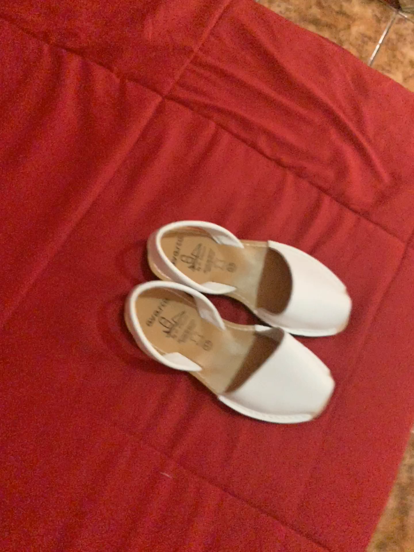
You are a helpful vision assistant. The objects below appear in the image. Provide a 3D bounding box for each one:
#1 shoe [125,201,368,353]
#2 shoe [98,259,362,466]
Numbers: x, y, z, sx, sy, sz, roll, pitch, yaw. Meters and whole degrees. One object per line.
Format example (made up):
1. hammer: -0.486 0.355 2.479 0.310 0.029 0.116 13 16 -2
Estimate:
1. shoe: 0.044 0.007 0.479 0.249 0.063 0.103 14 75 -7
2. shoe: 0.025 0.091 0.454 0.247 0.063 0.108 27 74 -4
